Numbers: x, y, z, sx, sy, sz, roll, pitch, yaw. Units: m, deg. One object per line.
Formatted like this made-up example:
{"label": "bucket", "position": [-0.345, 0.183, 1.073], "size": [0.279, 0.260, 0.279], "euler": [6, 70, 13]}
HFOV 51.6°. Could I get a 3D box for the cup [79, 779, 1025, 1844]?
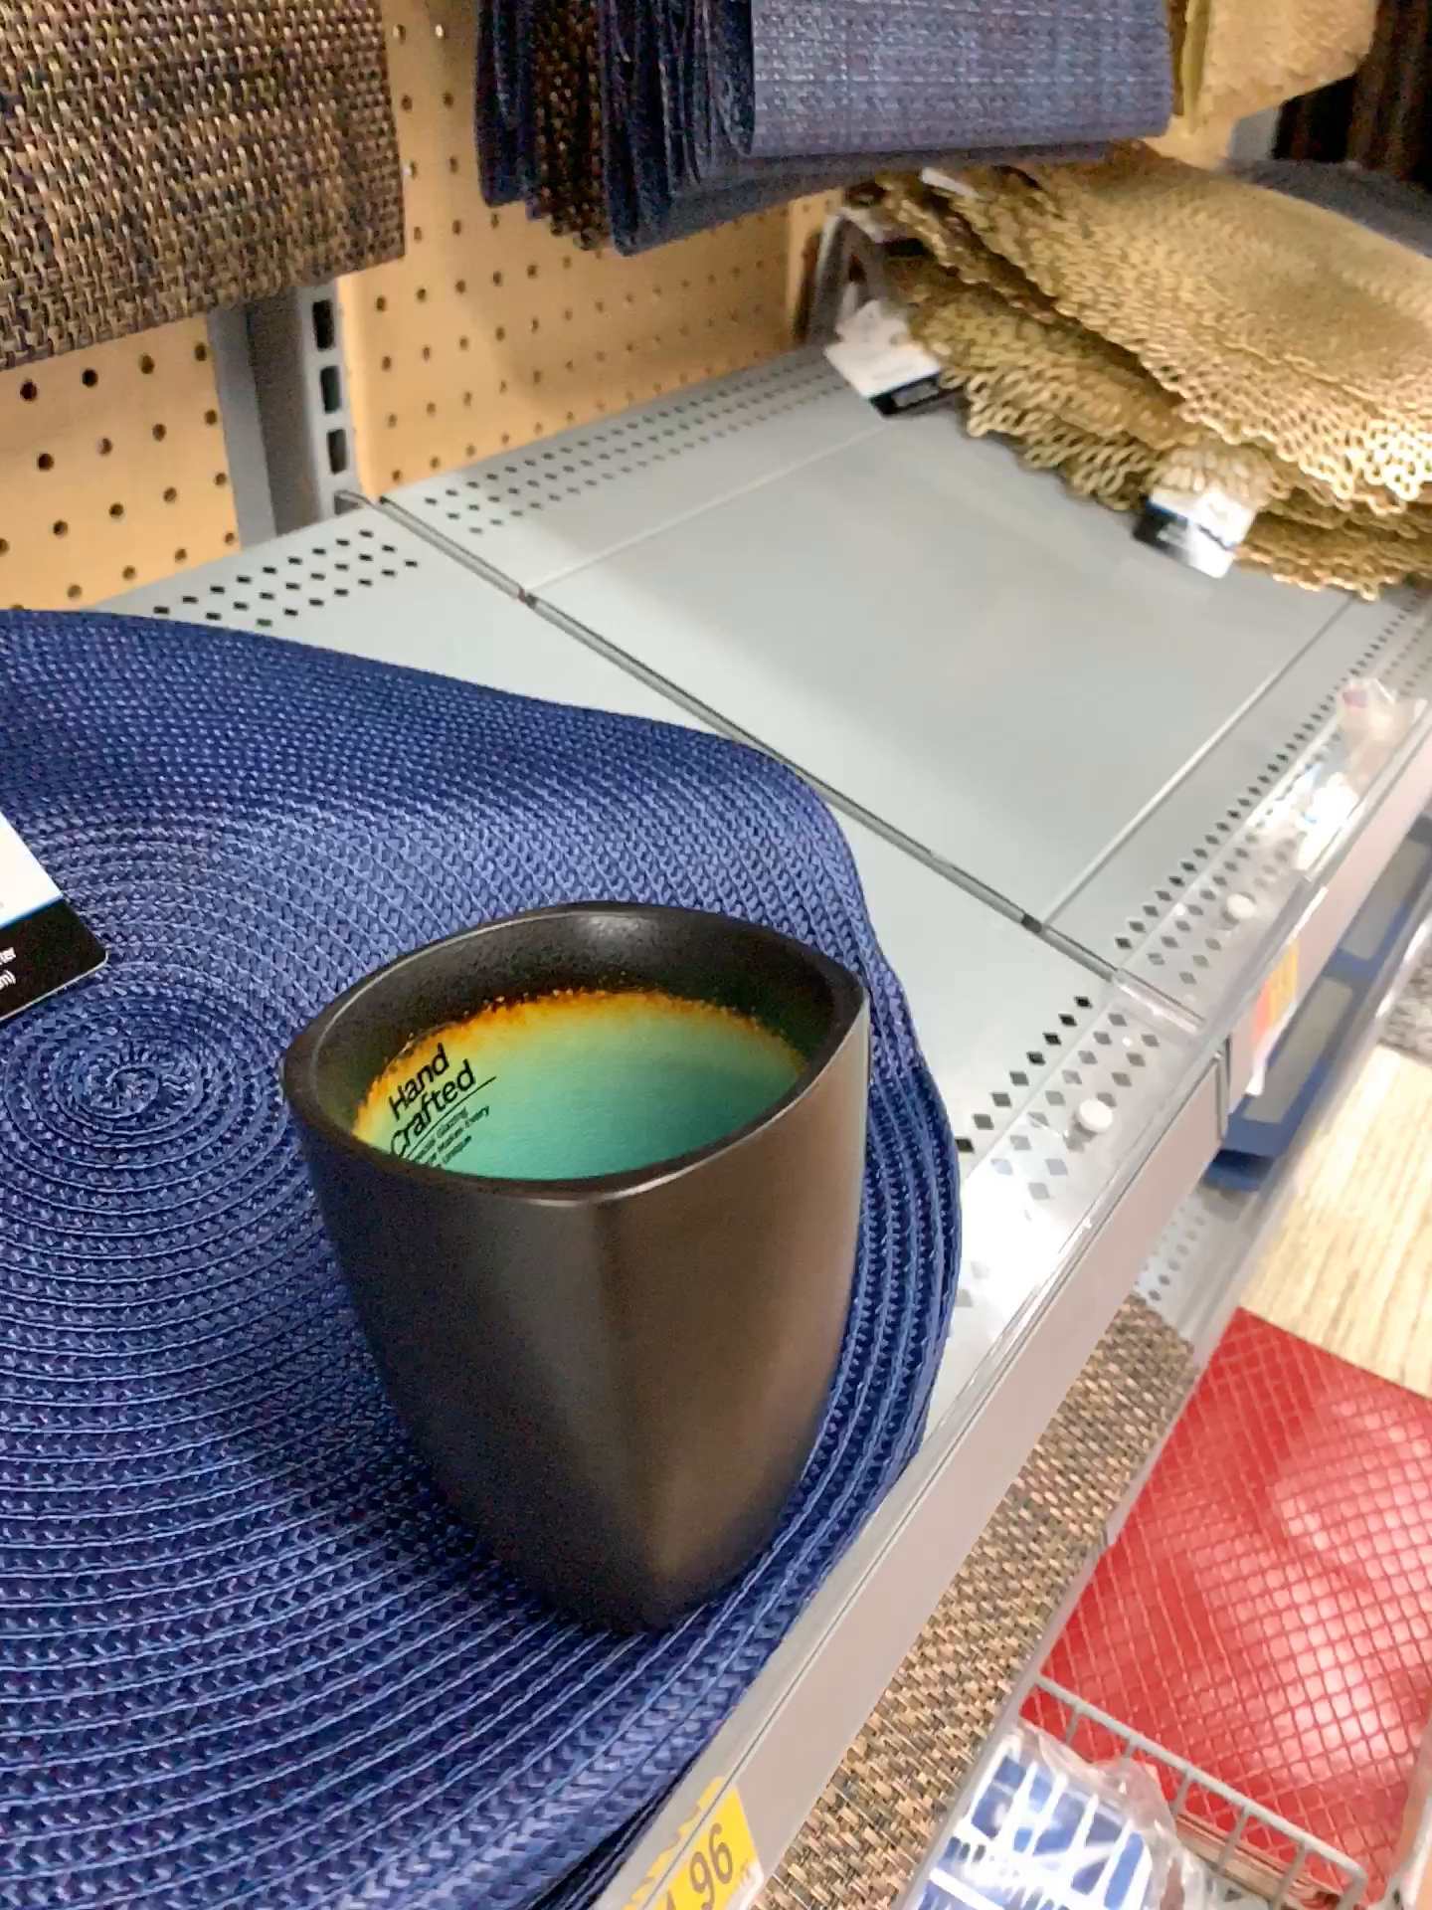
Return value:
{"label": "cup", "position": [-0.019, 0.051, 0.272], "size": [0.090, 0.109, 0.130], "euler": [21, 39, 35]}
